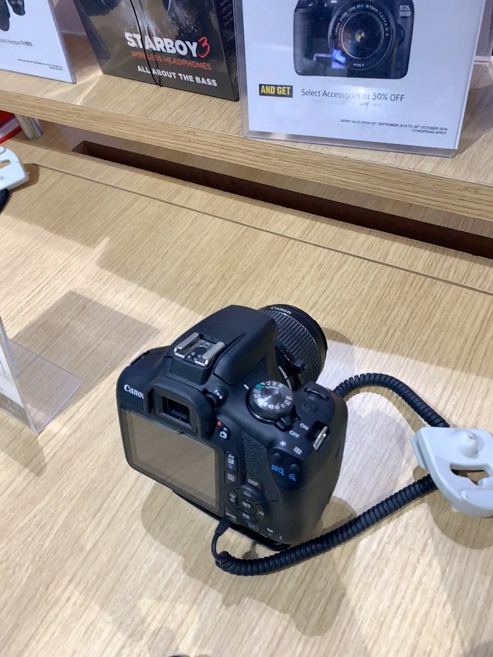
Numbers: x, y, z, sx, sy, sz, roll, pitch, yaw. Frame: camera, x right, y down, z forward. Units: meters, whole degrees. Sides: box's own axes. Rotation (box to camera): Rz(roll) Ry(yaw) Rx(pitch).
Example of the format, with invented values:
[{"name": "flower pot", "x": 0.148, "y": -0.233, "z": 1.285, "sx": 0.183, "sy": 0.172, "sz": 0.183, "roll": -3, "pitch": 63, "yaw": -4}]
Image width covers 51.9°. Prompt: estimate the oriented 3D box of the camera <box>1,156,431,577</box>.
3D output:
[{"name": "camera", "x": -0.001, "y": 0.011, "z": 0.276, "sx": 0.140, "sy": 0.110, "sz": 0.160, "roll": 19, "pitch": 59, "yaw": 25}]
